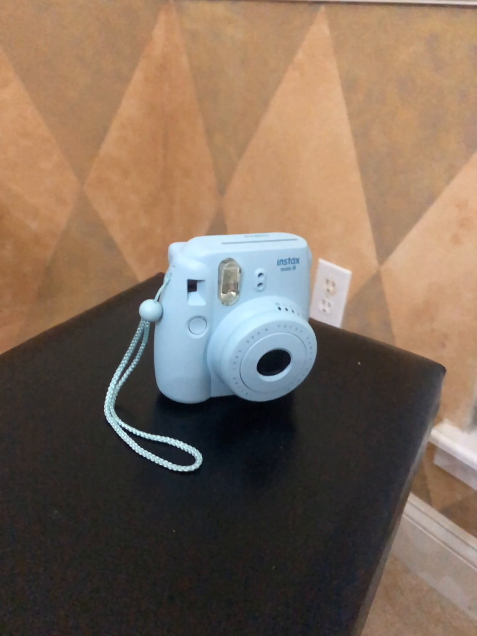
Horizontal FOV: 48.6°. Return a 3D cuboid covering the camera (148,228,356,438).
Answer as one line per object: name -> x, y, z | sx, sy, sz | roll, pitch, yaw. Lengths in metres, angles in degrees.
camera -> 0.003, 0.006, 0.377 | 0.120, 0.118, 0.068 | -6, 29, -22
